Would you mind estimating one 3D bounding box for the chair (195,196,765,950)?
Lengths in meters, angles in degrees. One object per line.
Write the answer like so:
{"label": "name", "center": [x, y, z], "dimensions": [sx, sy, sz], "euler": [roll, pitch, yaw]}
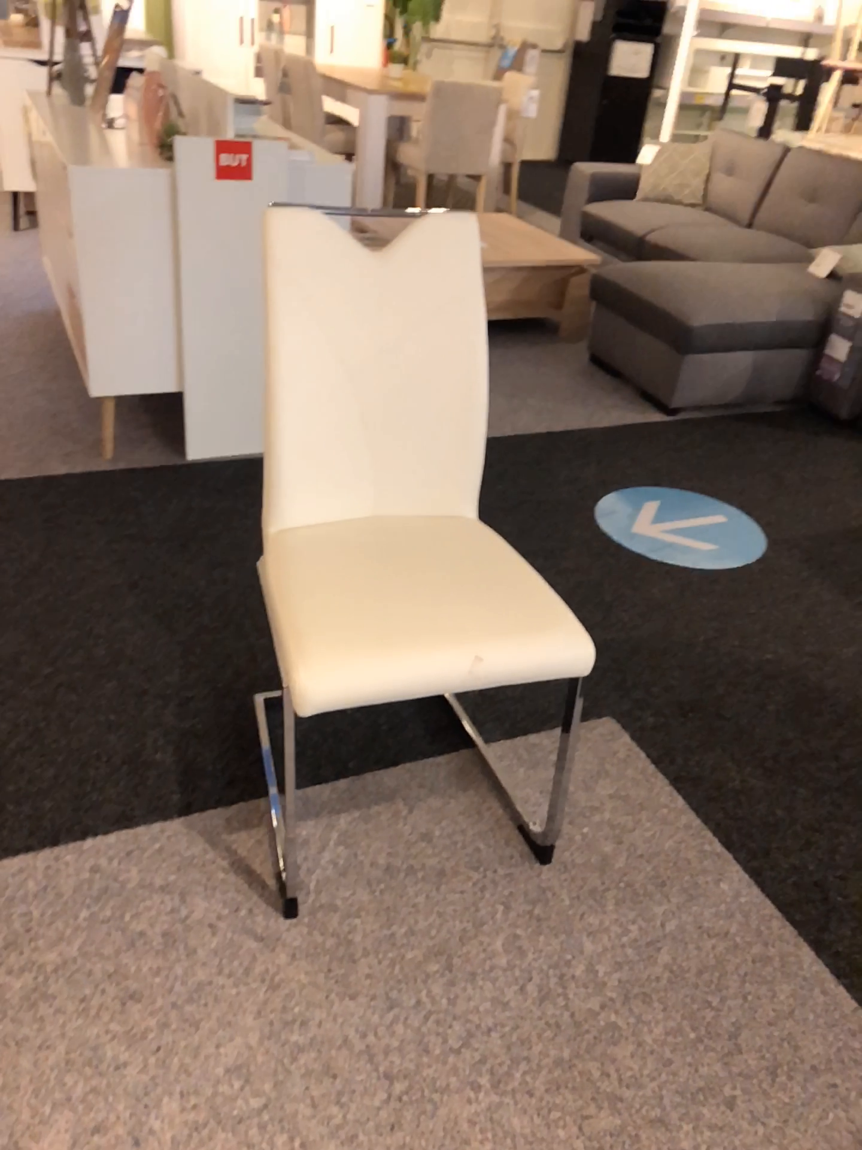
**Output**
{"label": "chair", "center": [-0.024, -0.040, 1.489], "dimensions": [0.562, 0.914, 0.632], "euler": [-6, 33, -21]}
